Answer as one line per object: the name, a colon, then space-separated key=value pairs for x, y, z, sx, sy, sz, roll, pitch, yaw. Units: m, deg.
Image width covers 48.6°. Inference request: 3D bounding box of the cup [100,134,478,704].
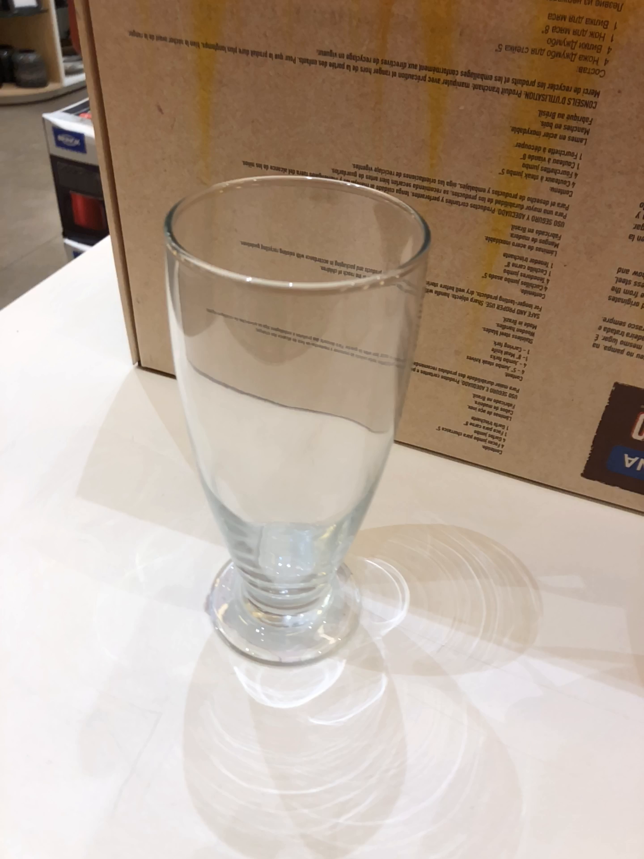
cup: x=-0.010 y=0.003 z=0.273 sx=0.090 sy=0.189 sz=0.081 roll=15 pitch=39 yaw=14
